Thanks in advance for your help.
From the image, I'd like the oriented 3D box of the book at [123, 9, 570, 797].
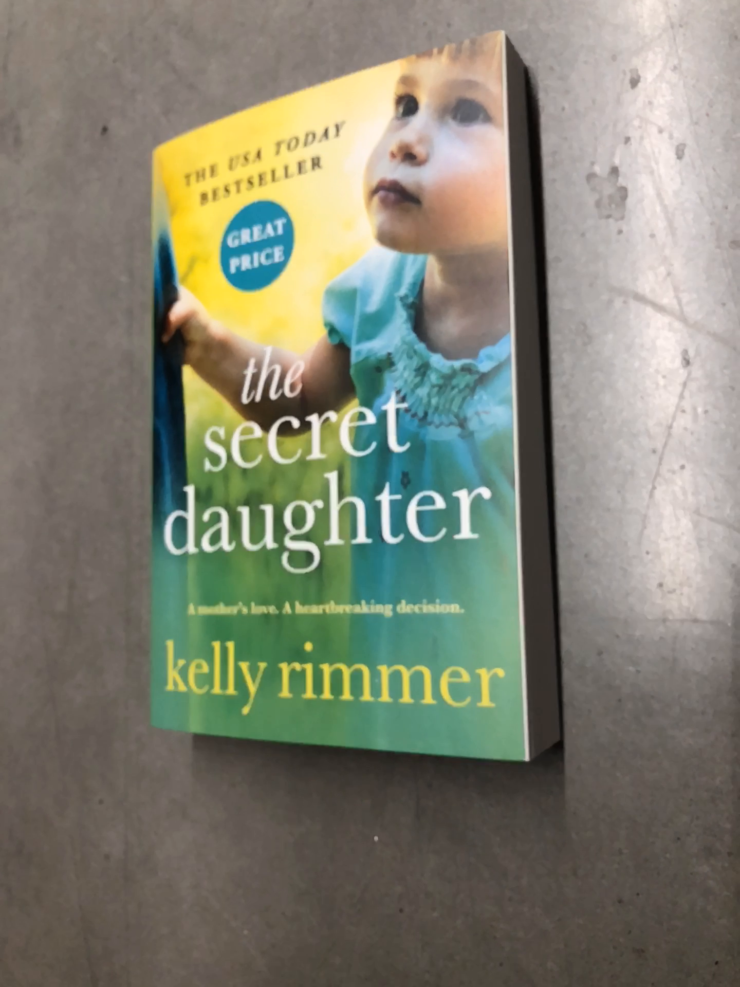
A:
[{"bbox_3d":[-0.014,-0.023,0.264,0.141,0.030,0.210,-4,83,28],"label":"book"}]
